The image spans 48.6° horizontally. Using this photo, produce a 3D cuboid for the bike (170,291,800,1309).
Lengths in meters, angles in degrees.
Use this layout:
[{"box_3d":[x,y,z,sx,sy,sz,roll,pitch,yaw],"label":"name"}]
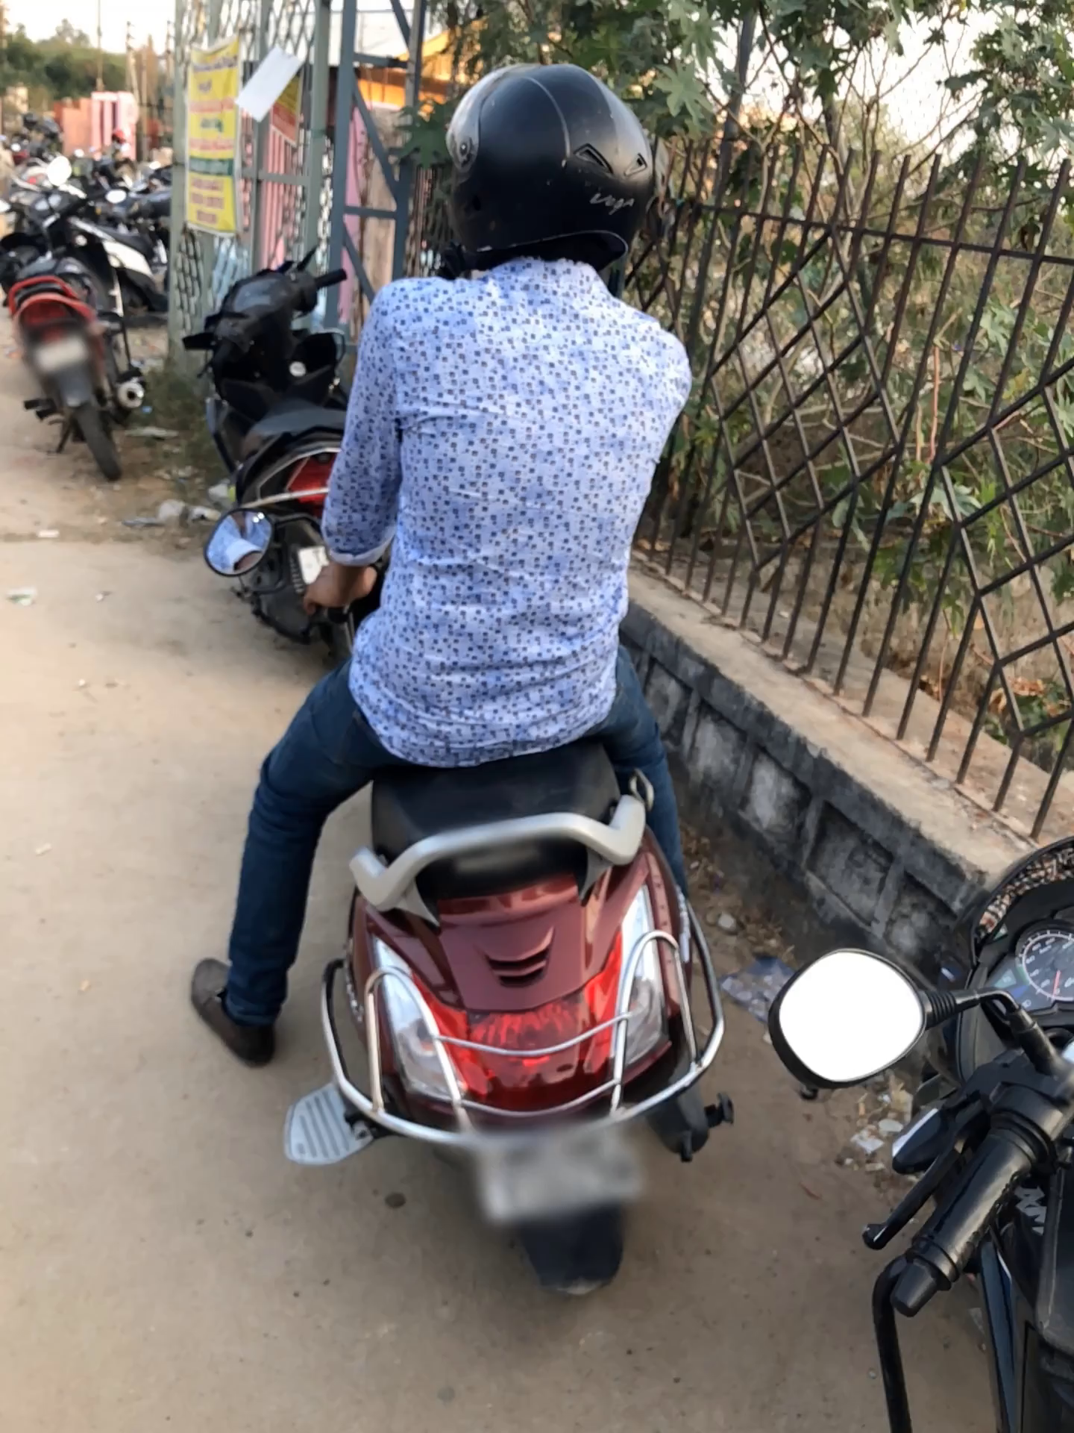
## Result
[{"box_3d":[-0.288,-0.037,1.960,0.577,0.963,1.494,1,27,-17],"label":"bike"}]
